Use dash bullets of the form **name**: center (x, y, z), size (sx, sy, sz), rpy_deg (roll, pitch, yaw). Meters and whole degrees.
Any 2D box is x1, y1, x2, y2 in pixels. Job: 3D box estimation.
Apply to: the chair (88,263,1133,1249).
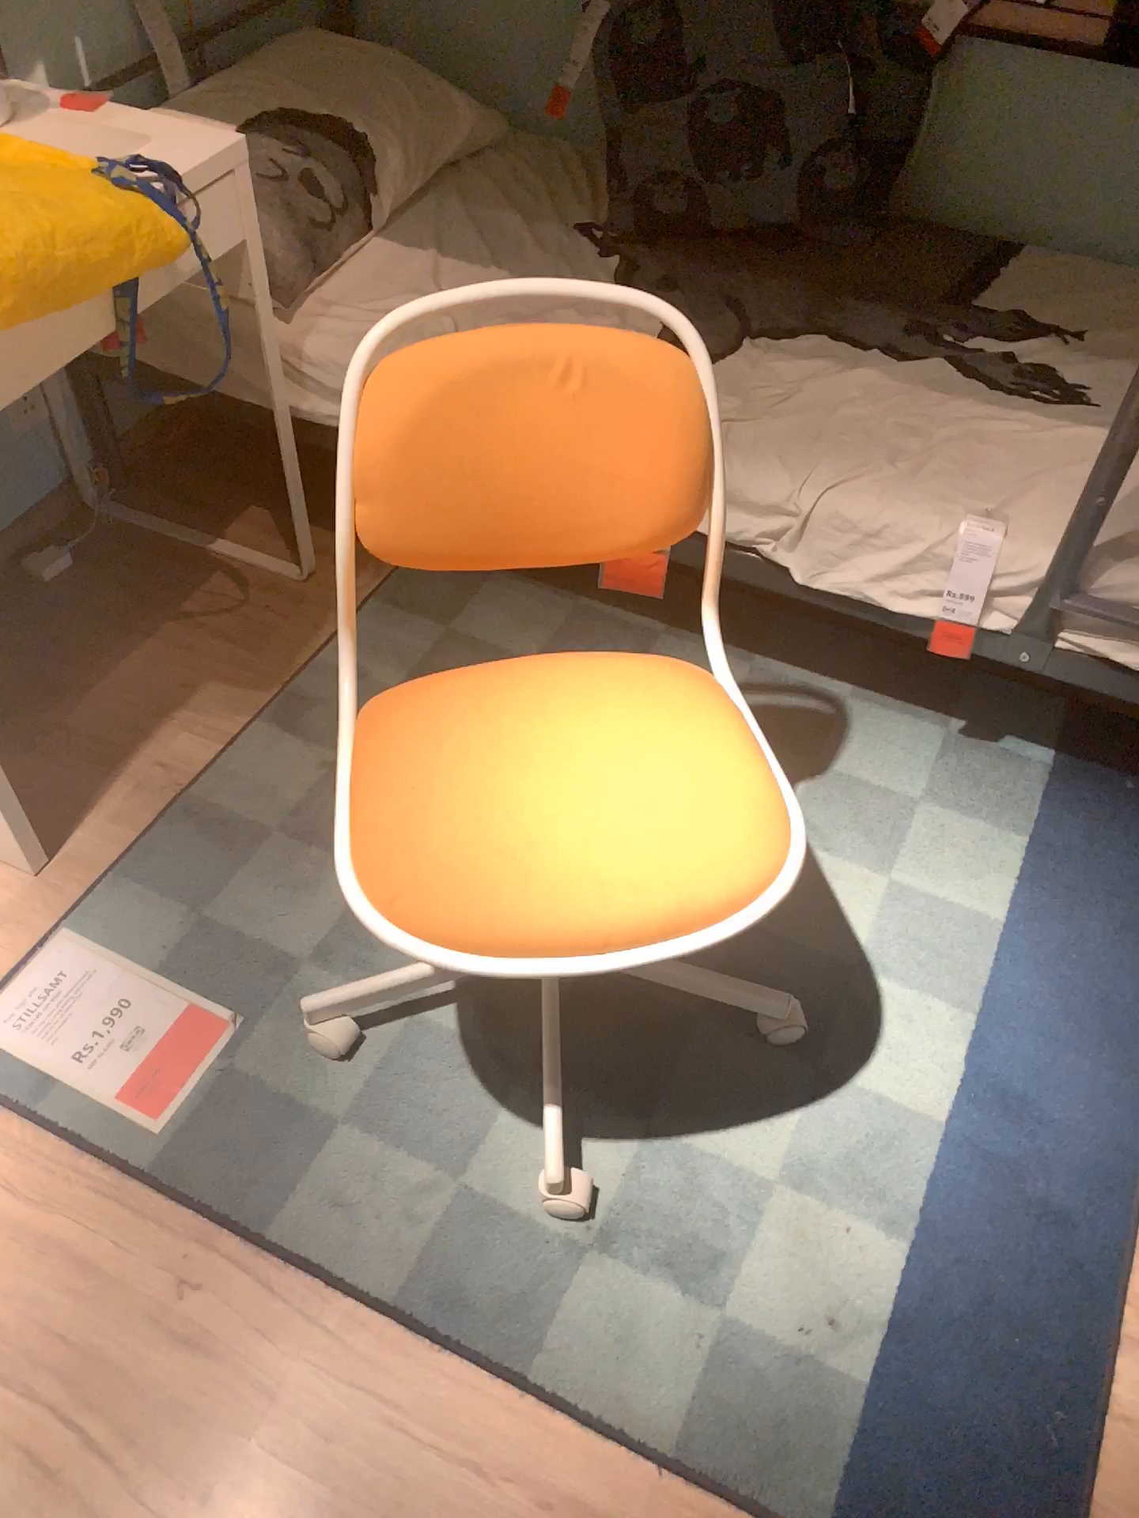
- **chair**: center (-0.004, 0.011, 1.151), size (0.610, 0.708, 0.652), rpy_deg (-2, 49, -4)
